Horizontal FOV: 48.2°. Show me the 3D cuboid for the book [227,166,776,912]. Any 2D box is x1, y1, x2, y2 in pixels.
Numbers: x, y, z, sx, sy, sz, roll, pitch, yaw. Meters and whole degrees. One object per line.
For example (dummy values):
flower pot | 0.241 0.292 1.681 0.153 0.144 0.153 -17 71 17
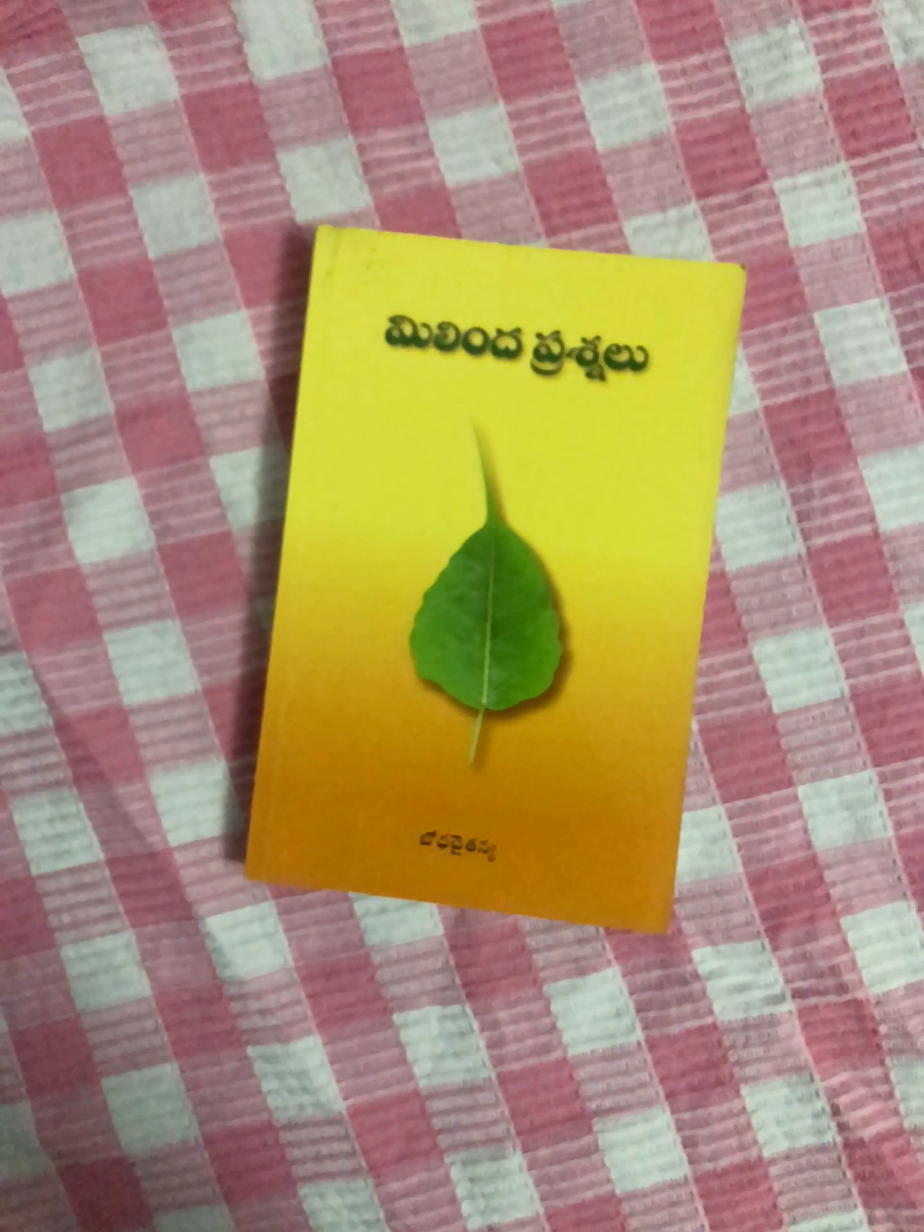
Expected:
book | 0.012 -0.024 0.335 0.150 0.020 0.220 6 91 1
